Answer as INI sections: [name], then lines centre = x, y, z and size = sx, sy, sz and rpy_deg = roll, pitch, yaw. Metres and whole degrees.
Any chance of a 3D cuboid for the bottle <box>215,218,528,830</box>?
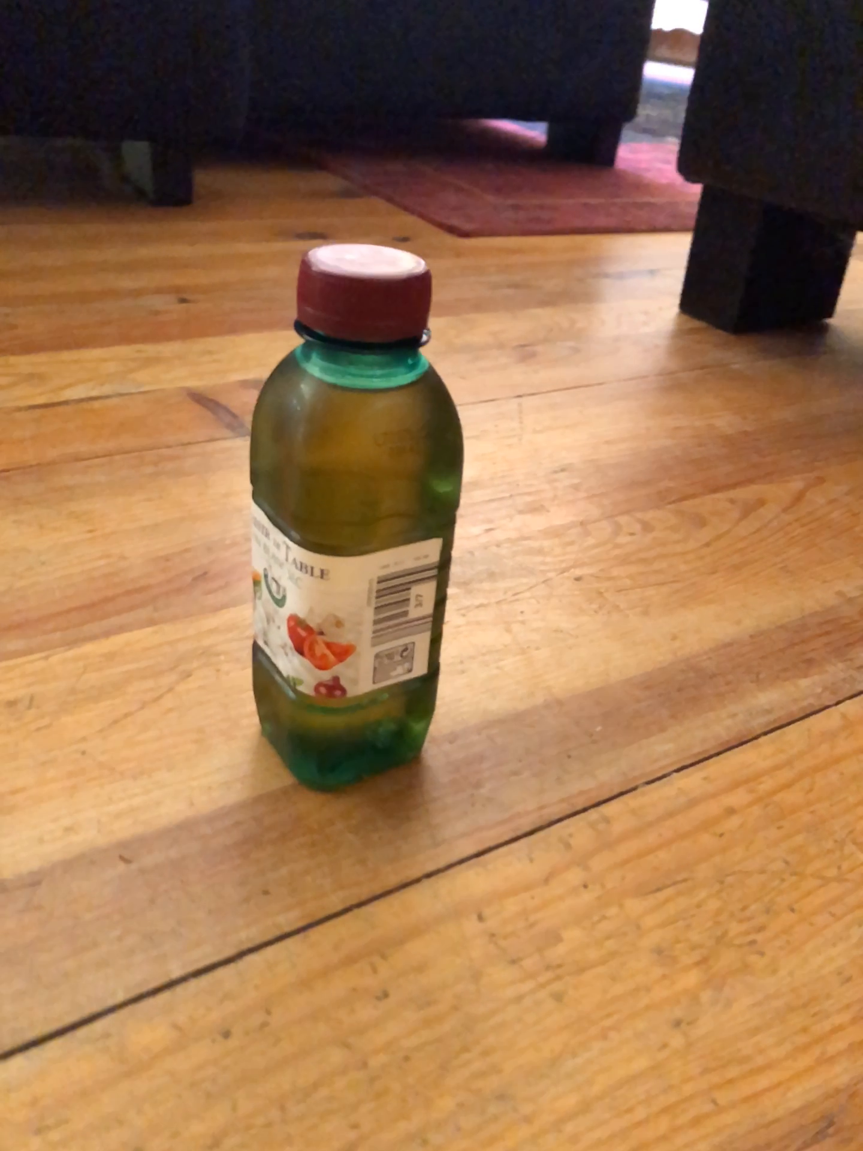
[bottle]
centre = -0.022, -0.012, 0.261
size = 0.050, 0.149, 0.060
rpy_deg = -14, 37, -30
